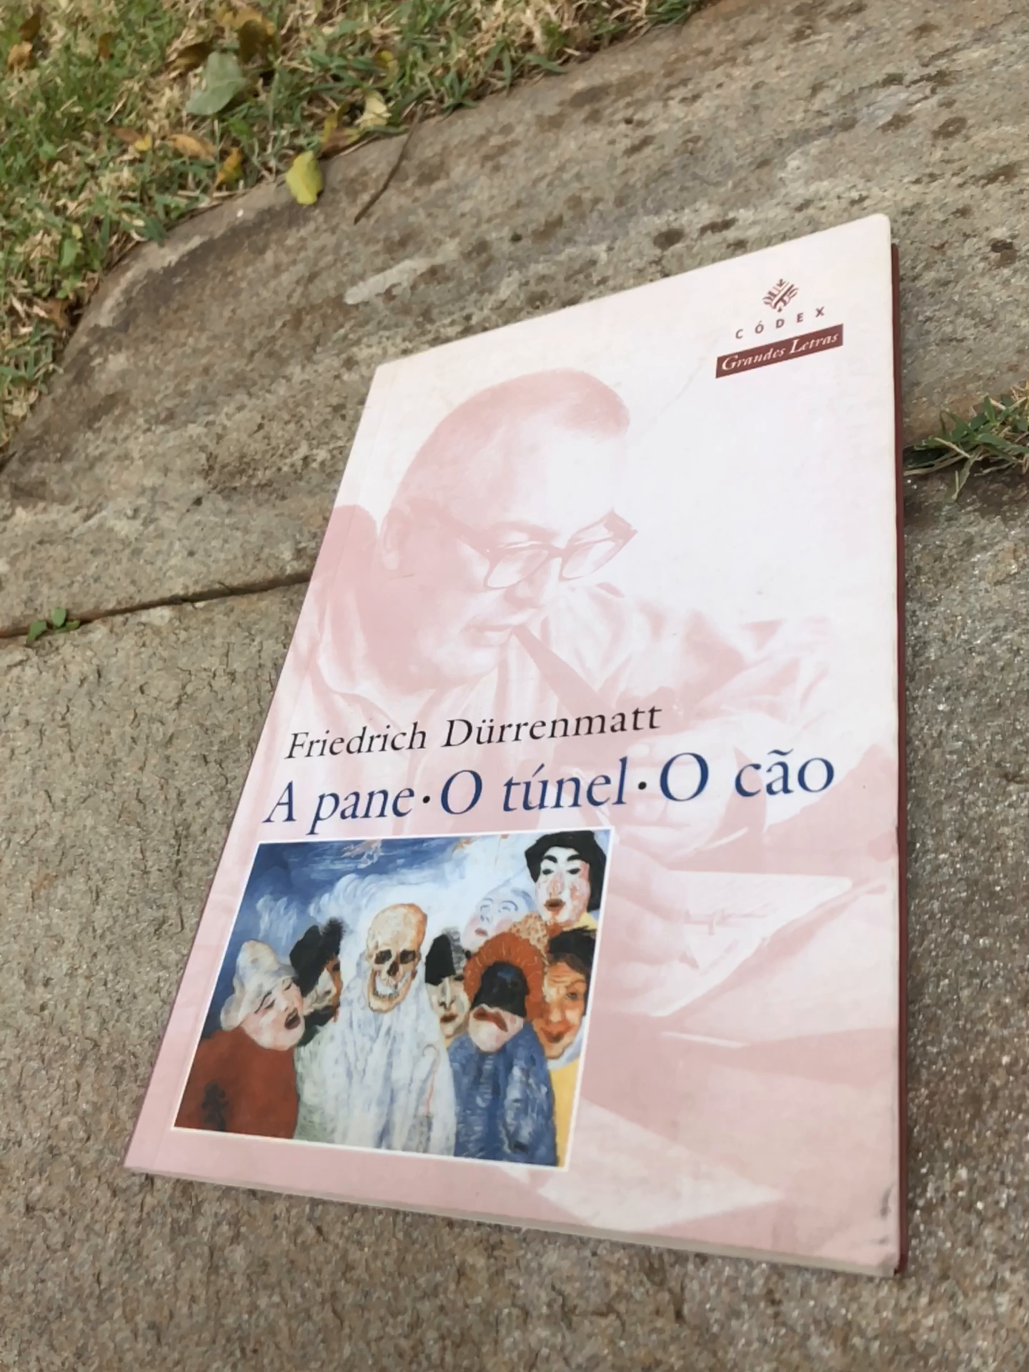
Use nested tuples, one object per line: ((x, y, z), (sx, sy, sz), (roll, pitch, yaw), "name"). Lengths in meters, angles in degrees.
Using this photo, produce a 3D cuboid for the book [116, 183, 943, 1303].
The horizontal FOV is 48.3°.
((0.010, -0.005, 0.233), (0.138, 0.020, 0.211), (-6, 57, 28), "book")
